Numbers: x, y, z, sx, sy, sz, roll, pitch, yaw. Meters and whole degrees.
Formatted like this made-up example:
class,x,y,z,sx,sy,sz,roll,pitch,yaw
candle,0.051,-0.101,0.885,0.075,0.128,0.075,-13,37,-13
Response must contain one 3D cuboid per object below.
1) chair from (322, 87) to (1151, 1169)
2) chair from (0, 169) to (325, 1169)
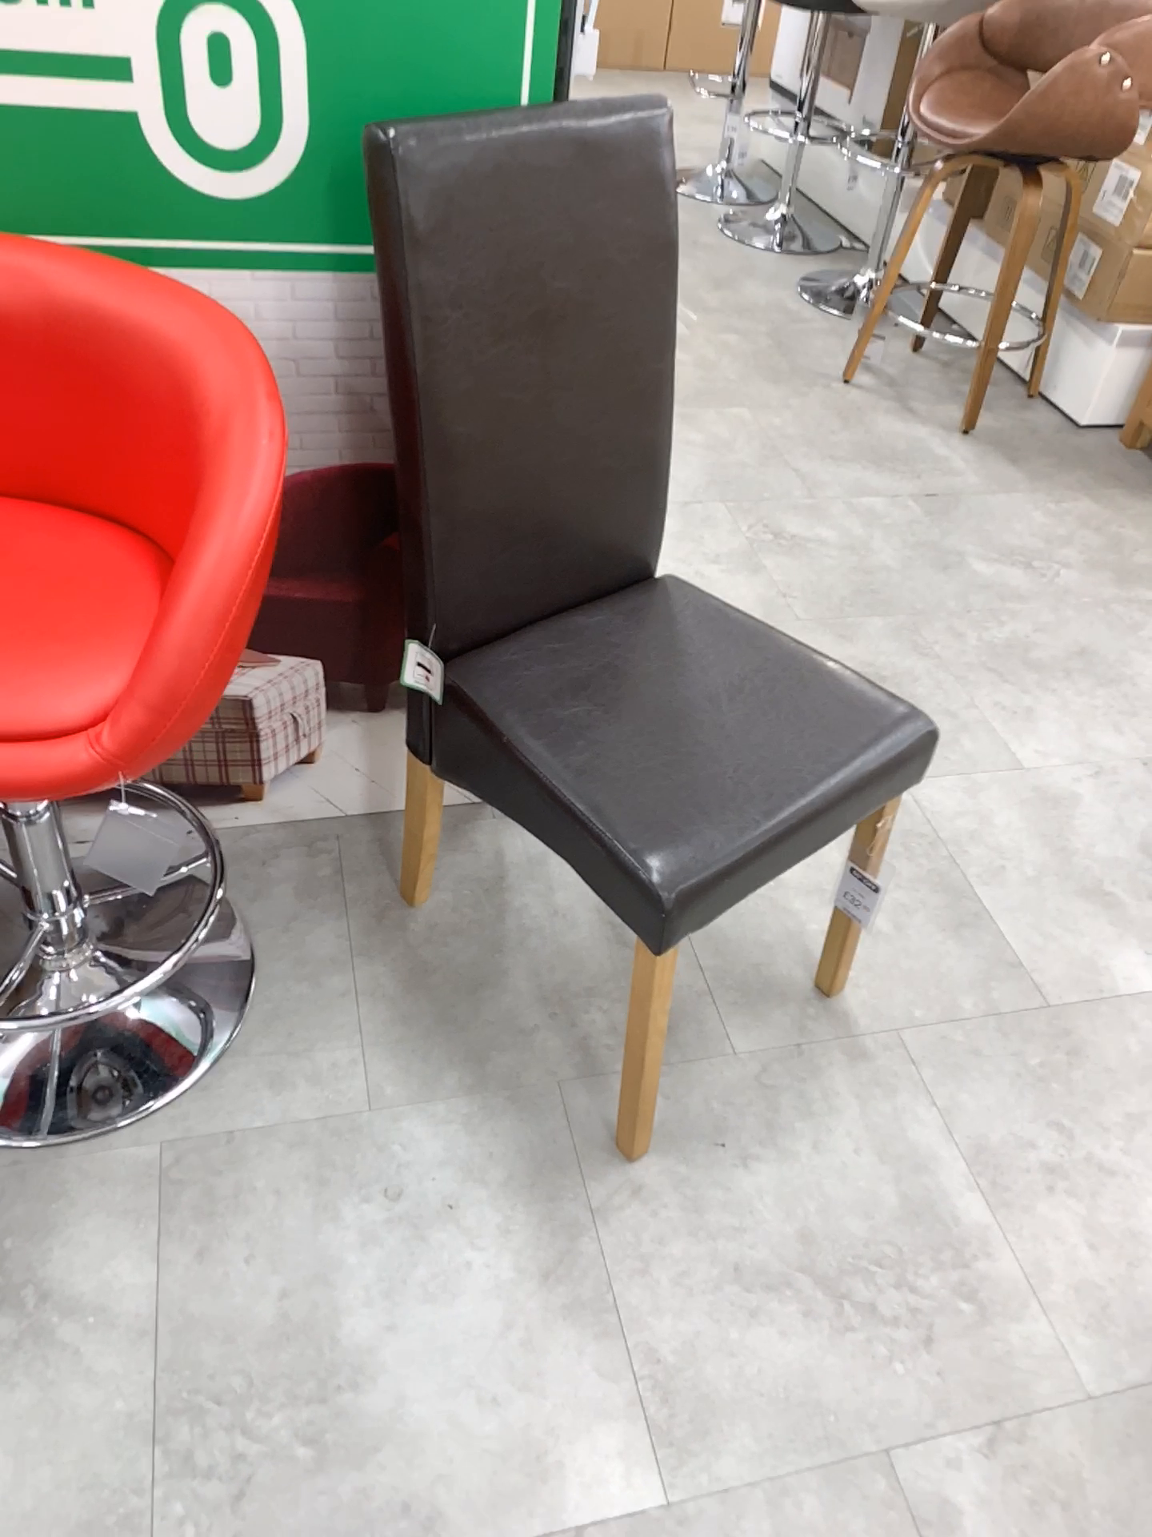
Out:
class,x,y,z,sx,sy,sz,roll,pitch,yaw
chair,0.082,-0.135,1.249,0.428,0.912,0.558,-27,52,-34
chair,-0.502,-0.053,1.088,0.425,0.774,0.460,5,41,-4
